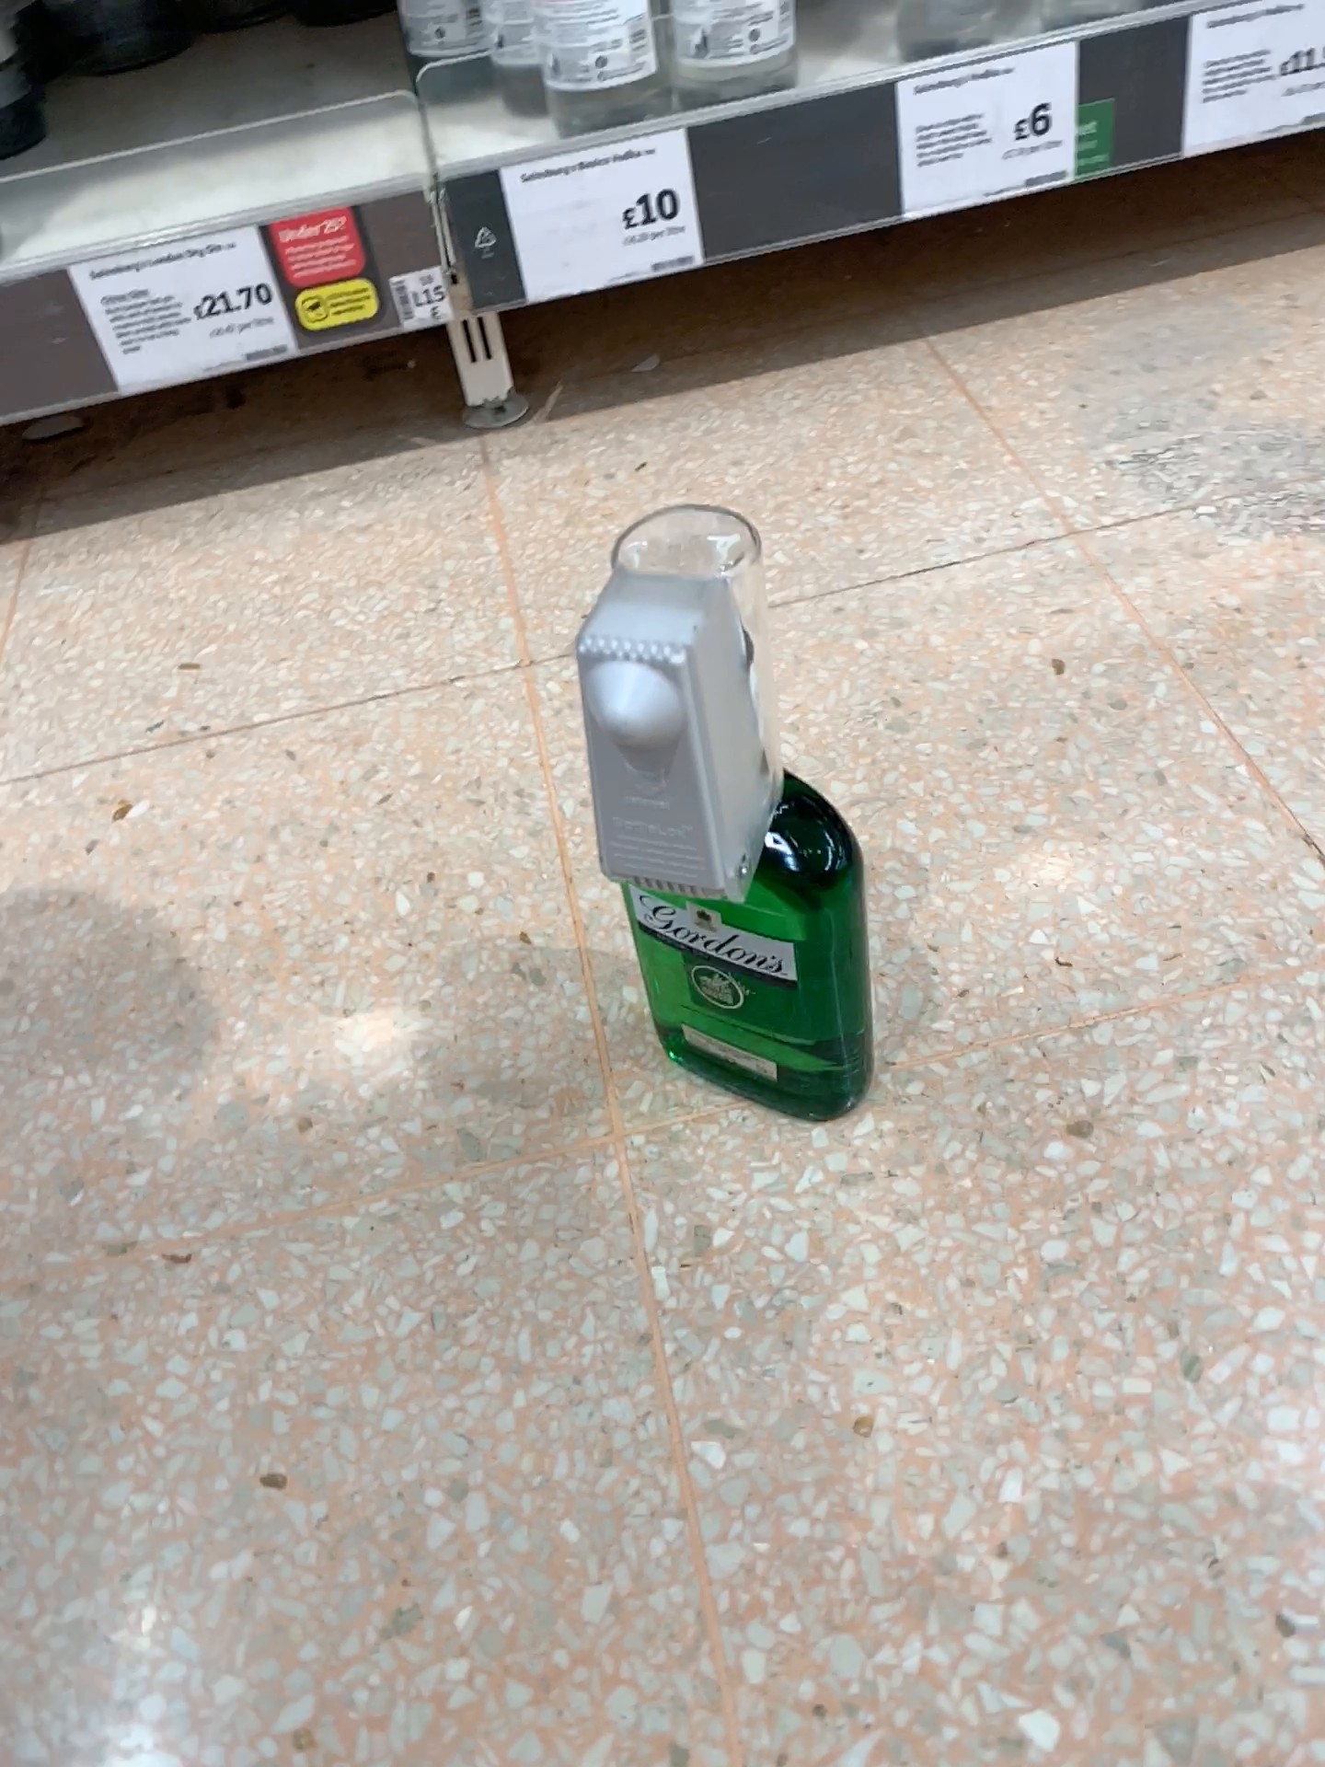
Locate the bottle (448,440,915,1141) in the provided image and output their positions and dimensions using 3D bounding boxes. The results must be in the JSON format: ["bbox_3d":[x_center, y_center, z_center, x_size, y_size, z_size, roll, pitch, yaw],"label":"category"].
[{"bbox_3d":[0.017,-0.019,0.410,0.103,0.203,0.056,20,53,27],"label":"bottle"}]
